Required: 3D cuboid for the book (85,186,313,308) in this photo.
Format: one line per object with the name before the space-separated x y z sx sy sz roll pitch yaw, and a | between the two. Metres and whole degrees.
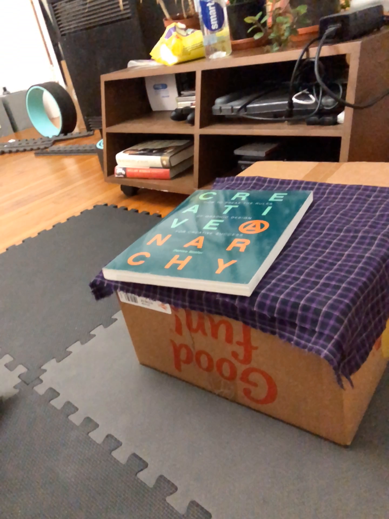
book | 0.024 -0.041 0.615 0.220 0.020 0.301 5 32 29
